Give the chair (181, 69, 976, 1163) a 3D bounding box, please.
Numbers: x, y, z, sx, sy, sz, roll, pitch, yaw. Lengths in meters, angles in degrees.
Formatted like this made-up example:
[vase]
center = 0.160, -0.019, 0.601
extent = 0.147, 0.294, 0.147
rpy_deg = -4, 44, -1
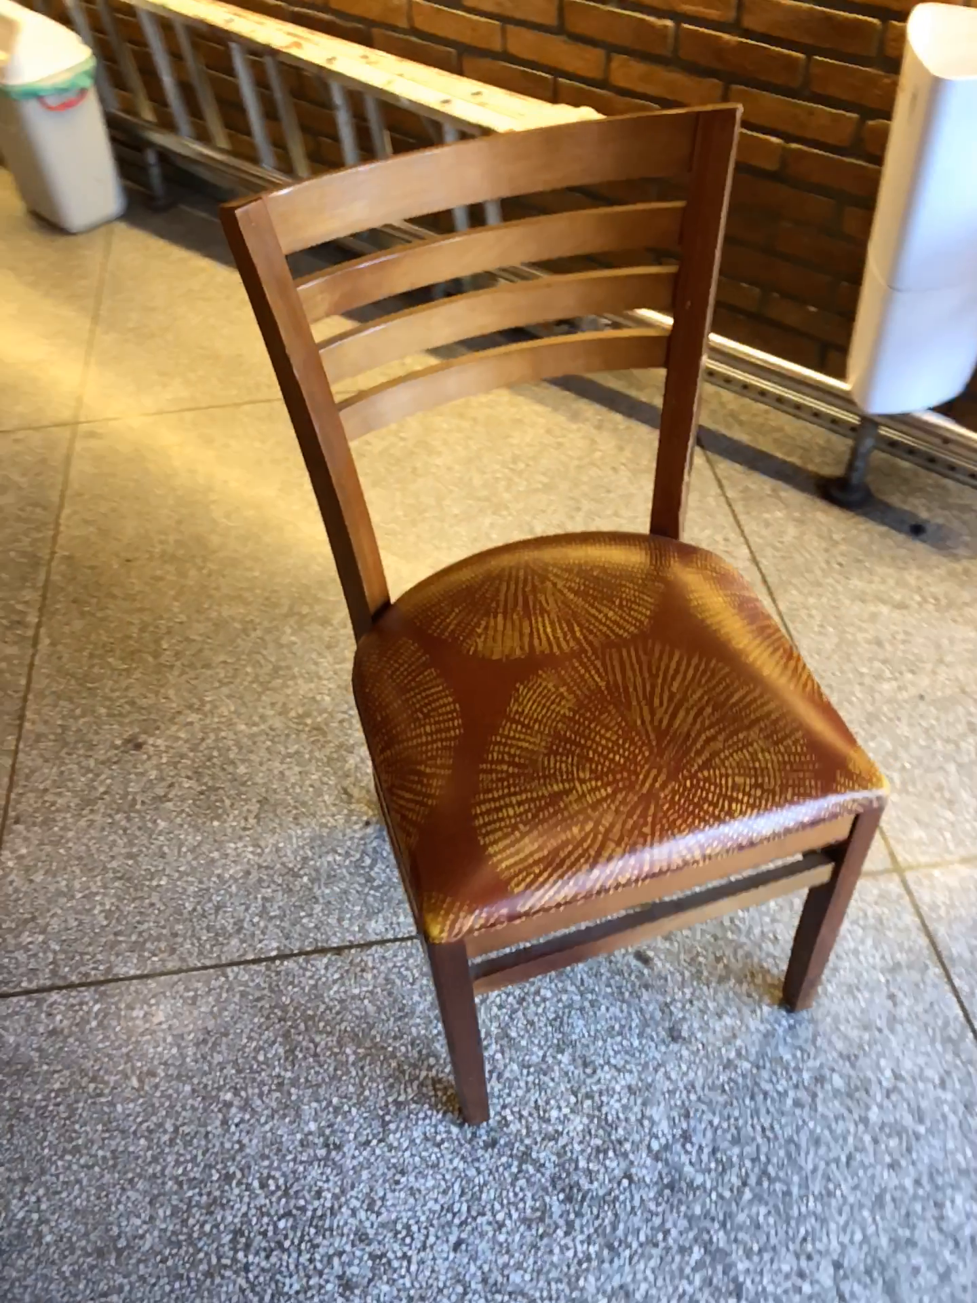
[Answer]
[chair]
center = 0.081, 0.027, 1.006
extent = 0.450, 0.844, 0.473
rpy_deg = -16, 49, -11
